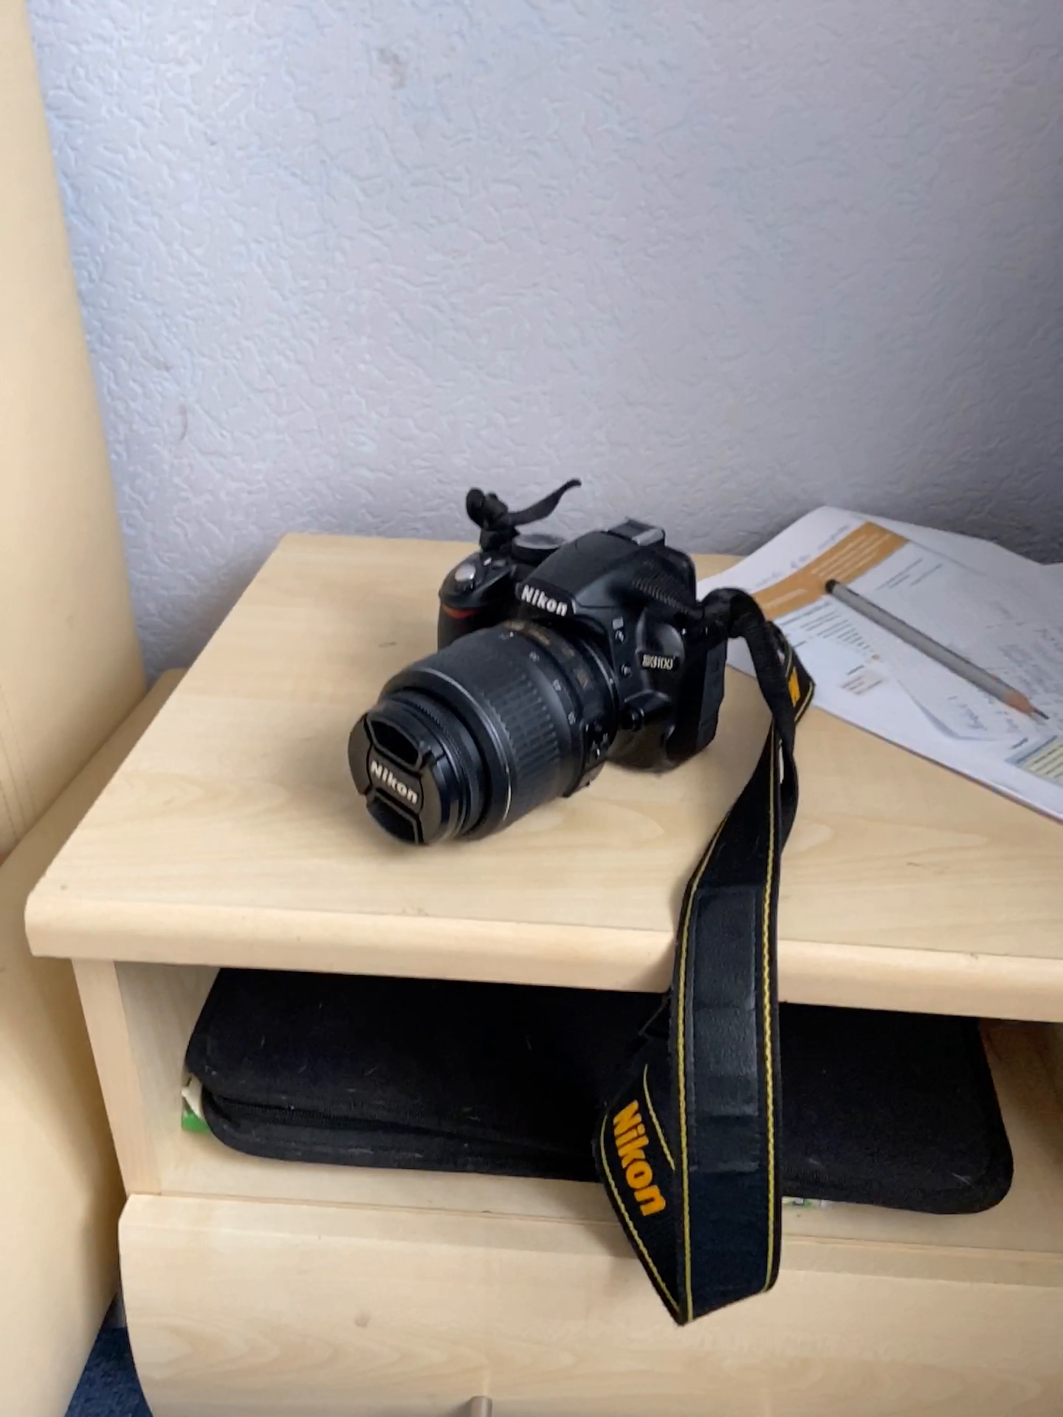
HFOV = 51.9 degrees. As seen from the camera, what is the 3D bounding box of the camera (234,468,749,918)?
[{"bbox_3d":[-0.012,-0.018,0.425,0.118,0.091,0.152,25,38,34],"label":"camera"}]
